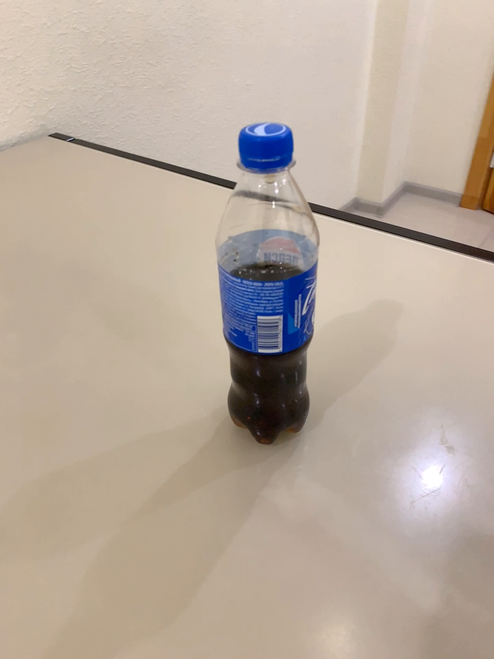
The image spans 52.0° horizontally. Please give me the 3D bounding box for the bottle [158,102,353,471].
[{"bbox_3d":[0.004,-0.018,0.345,0.080,0.229,0.080,-1,38,1],"label":"bottle"}]
